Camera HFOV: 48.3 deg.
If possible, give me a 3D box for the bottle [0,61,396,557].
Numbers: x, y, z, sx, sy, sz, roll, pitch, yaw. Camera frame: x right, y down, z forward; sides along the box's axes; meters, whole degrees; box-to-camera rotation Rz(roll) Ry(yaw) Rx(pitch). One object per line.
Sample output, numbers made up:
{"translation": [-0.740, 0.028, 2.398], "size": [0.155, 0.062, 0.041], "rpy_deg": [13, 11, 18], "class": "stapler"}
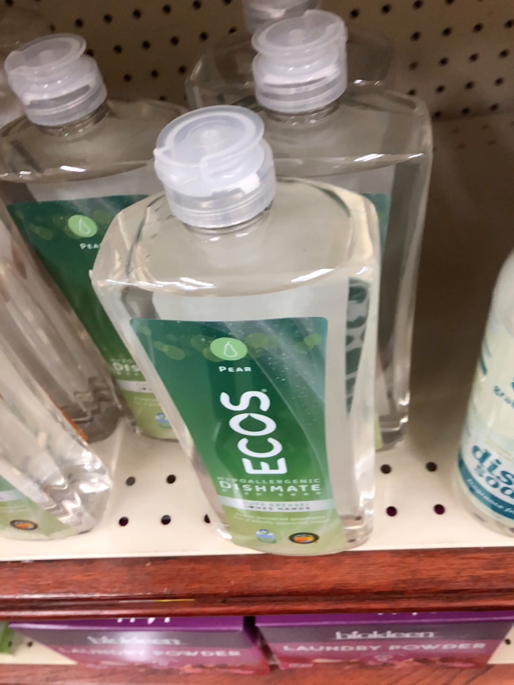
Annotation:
{"translation": [0.000, 0.020, 0.221], "size": [0.092, 0.226, 0.050], "rpy_deg": [-1, 53, 10], "class": "bottle"}
